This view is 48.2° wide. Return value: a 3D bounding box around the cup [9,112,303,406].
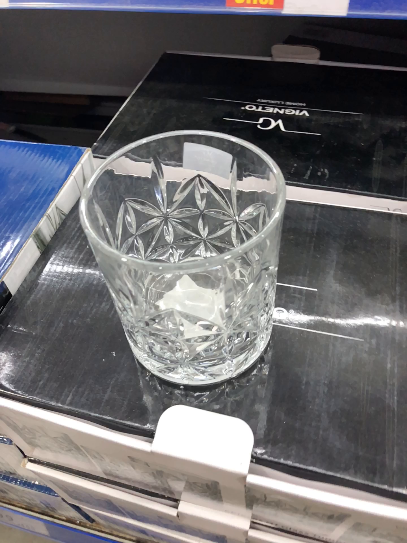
[{"bbox_3d":[-0.011,-0.004,0.223,0.100,0.100,0.100,-3,50,3],"label":"cup"}]
